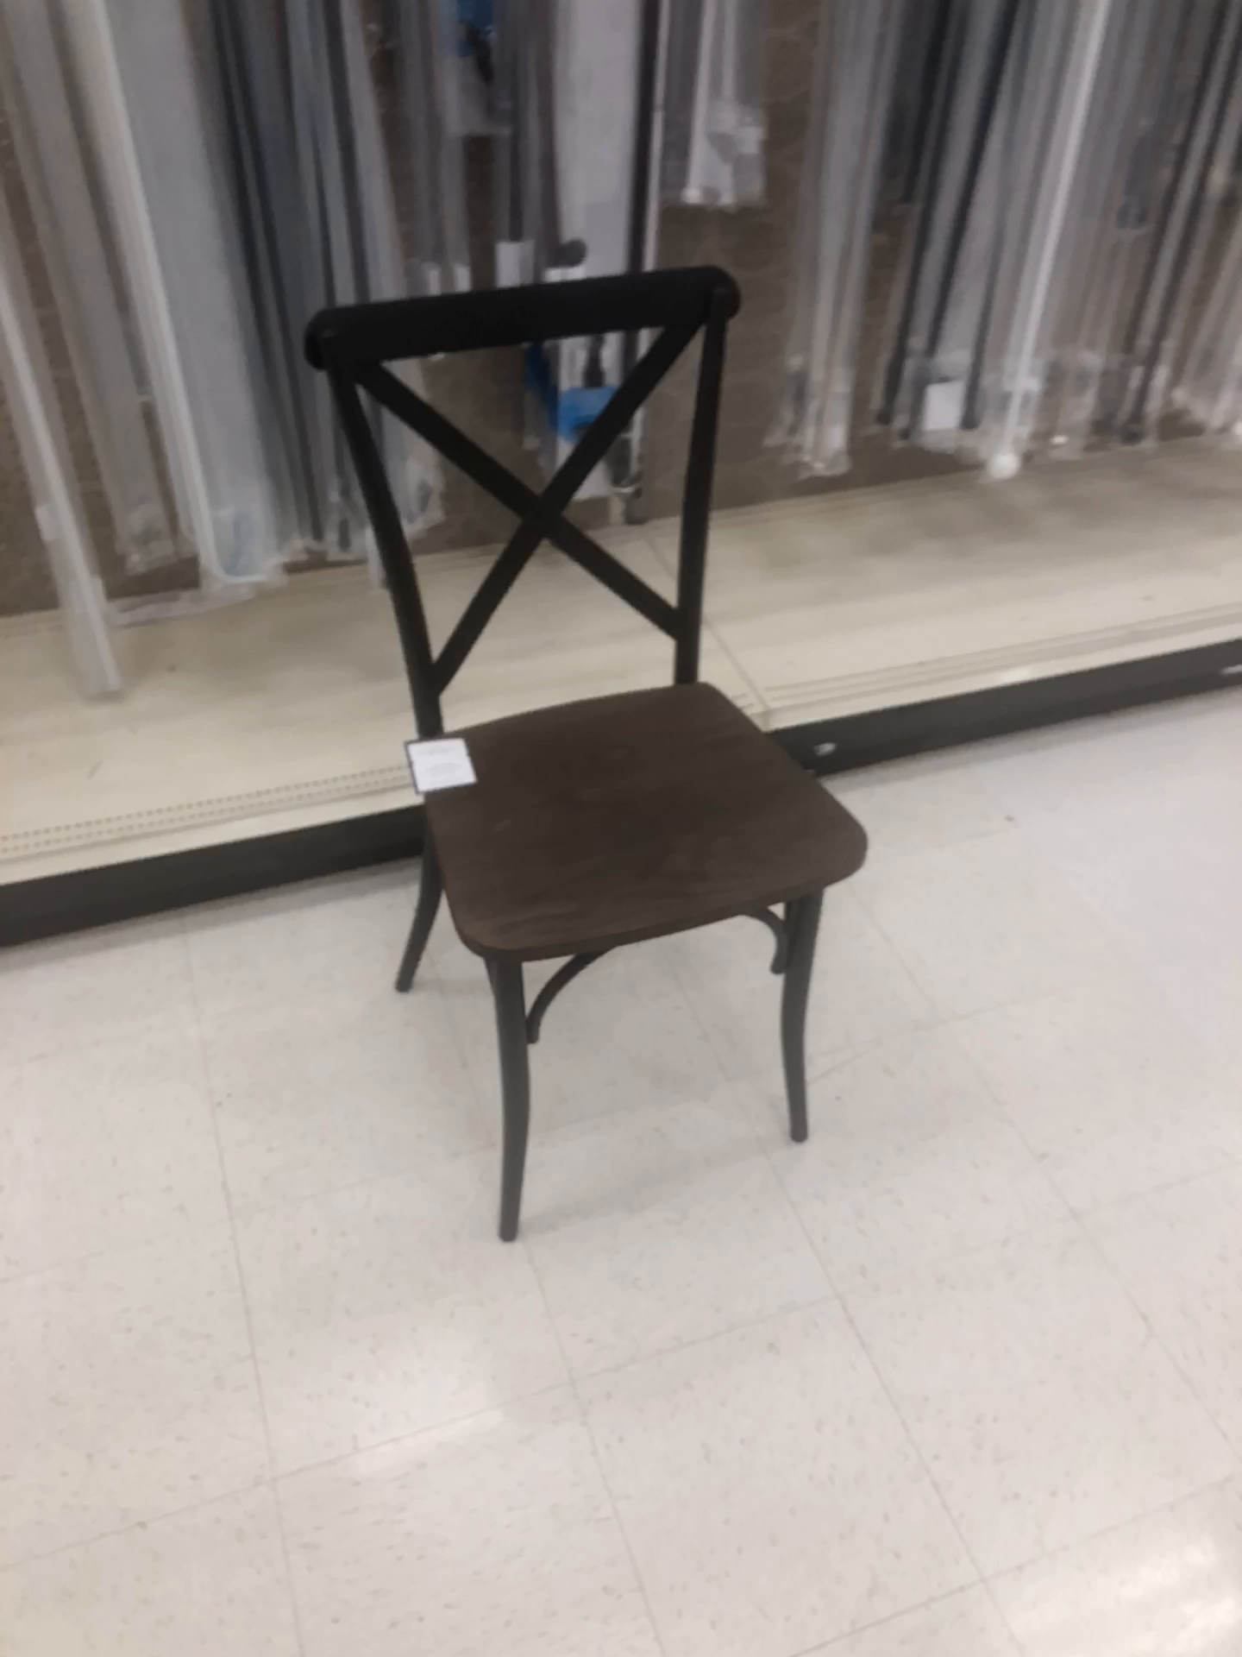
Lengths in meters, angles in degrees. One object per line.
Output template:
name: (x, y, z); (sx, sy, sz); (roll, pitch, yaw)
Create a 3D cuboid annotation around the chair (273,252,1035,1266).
chair: (-0.015, -0.066, 1.416); (0.476, 0.811, 0.527); (-13, 43, -17)
